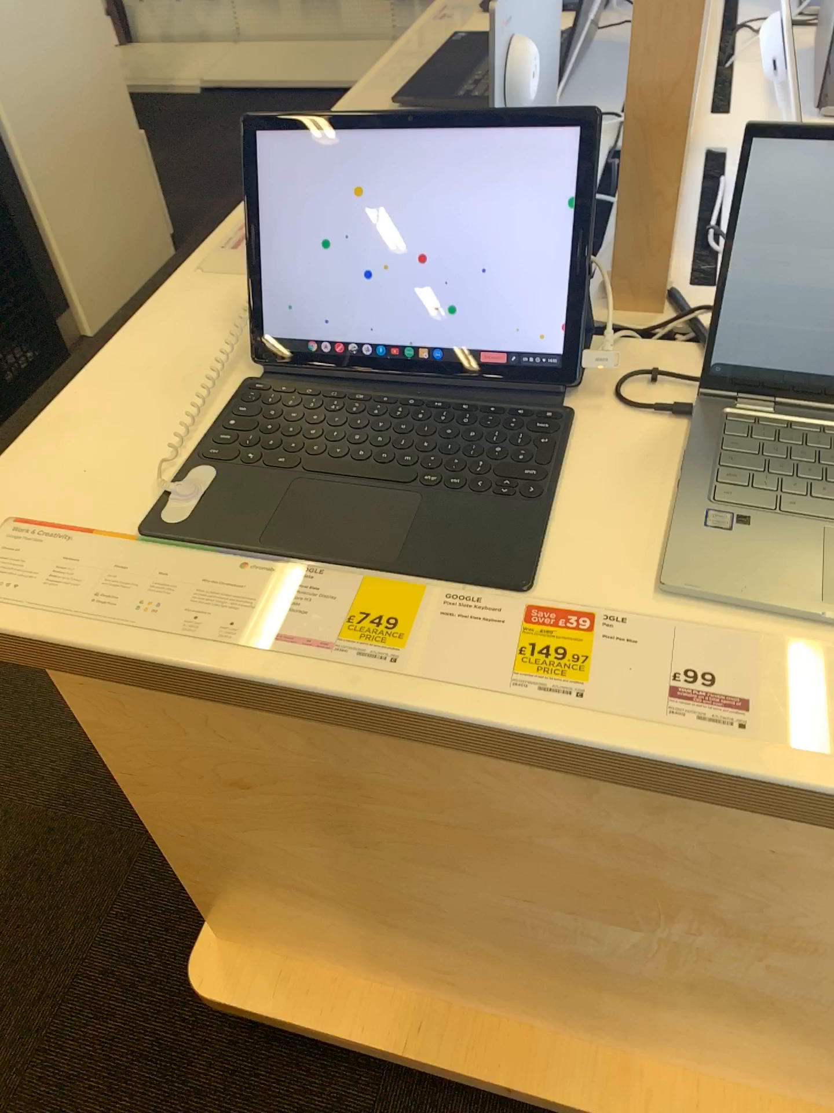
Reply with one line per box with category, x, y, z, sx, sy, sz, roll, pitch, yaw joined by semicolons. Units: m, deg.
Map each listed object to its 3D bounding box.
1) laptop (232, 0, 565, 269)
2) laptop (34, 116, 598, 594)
laptop;0.006;-0.496;0.902;0.232;0.222;0.321;9;48;14
laptop;-0.036;-0.164;0.619;0.285;0.187;0.295;7;47;13
